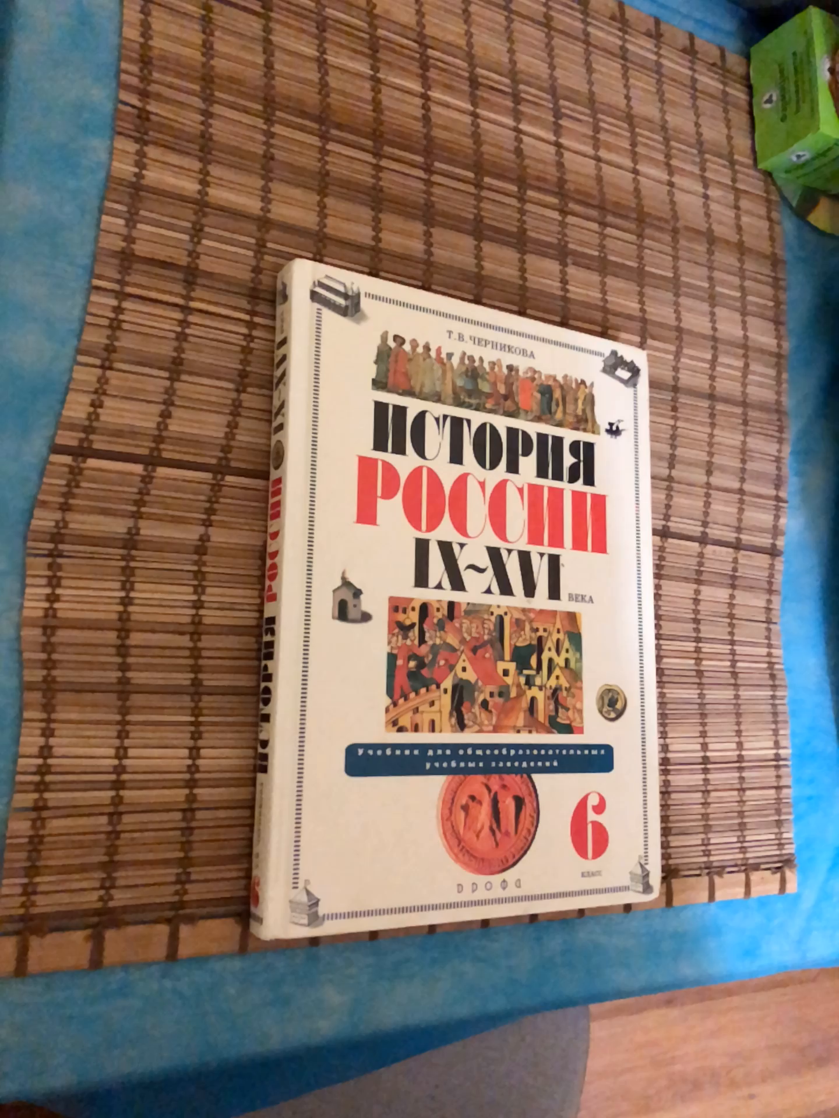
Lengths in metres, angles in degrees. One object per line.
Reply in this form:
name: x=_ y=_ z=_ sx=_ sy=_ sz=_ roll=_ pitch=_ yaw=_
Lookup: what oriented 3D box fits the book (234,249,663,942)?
book: x=0.019 y=0.015 z=0.369 sx=0.170 sy=0.029 sz=0.240 roll=6 pitch=78 yaw=-28
